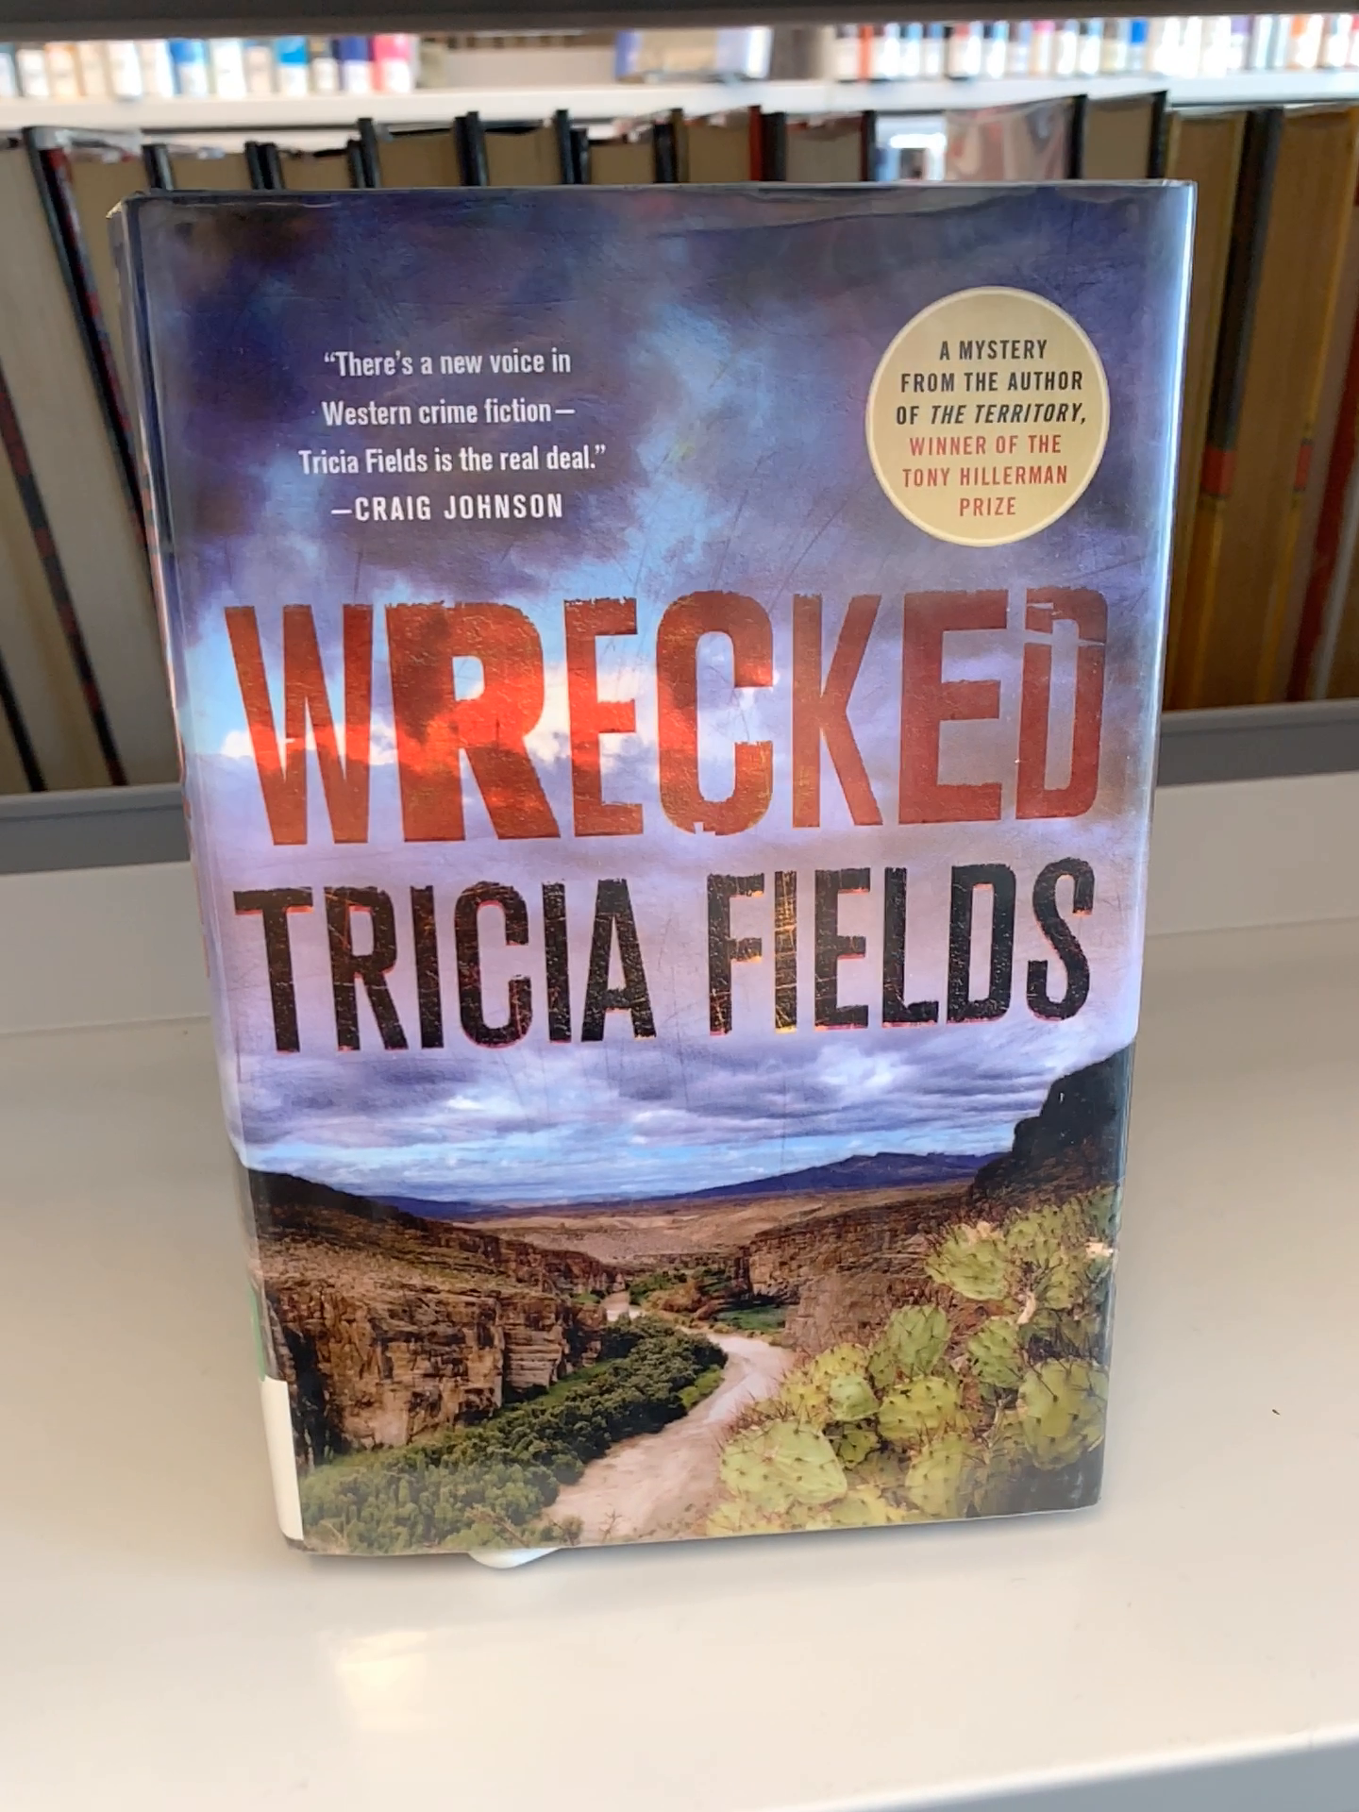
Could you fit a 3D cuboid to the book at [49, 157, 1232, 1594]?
[{"bbox_3d":[-0.001,0.005,0.226,0.150,0.213,0.034,-3,17,-2],"label":"book"}]
